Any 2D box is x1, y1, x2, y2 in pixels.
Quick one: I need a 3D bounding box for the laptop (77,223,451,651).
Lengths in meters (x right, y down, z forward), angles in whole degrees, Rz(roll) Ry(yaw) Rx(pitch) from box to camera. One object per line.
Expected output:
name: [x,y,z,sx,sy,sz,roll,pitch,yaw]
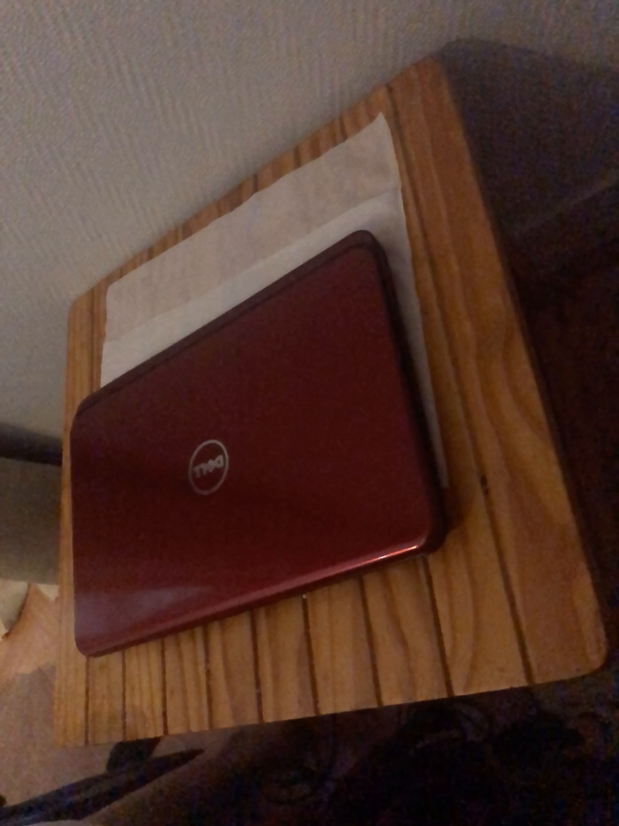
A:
laptop: [-0.076,0.034,0.572,0.367,0.011,0.247,-26,61,30]
